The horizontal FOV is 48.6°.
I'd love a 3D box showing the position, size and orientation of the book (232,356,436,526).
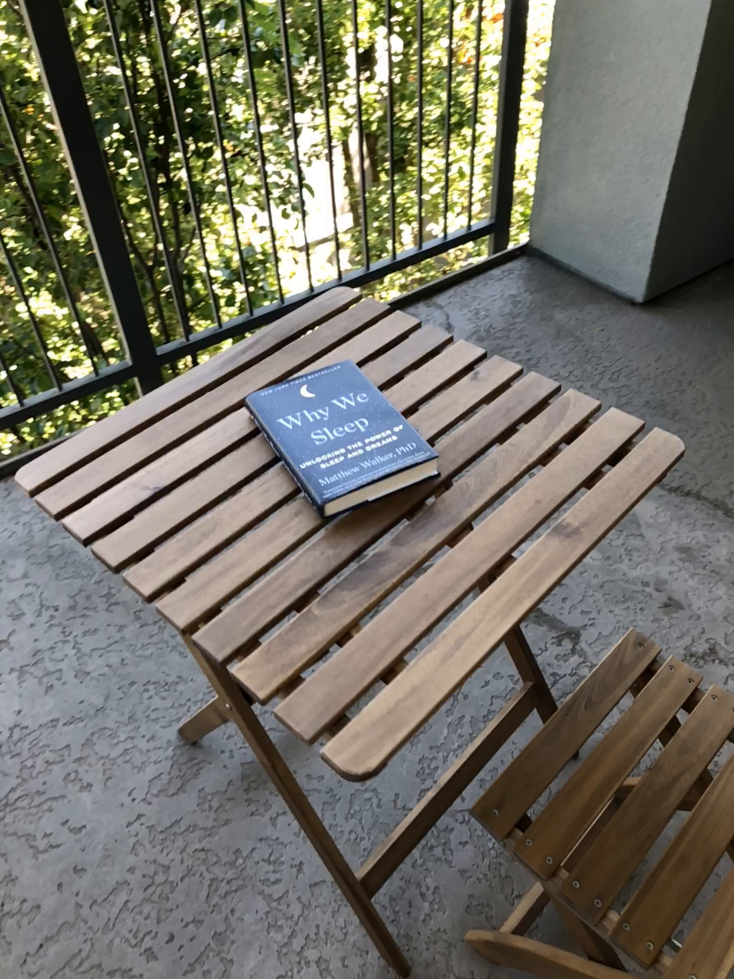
[{"bbox_3d":[-0.047,-0.070,1.010,0.170,0.029,0.235,-21,47,-17],"label":"book"}]
